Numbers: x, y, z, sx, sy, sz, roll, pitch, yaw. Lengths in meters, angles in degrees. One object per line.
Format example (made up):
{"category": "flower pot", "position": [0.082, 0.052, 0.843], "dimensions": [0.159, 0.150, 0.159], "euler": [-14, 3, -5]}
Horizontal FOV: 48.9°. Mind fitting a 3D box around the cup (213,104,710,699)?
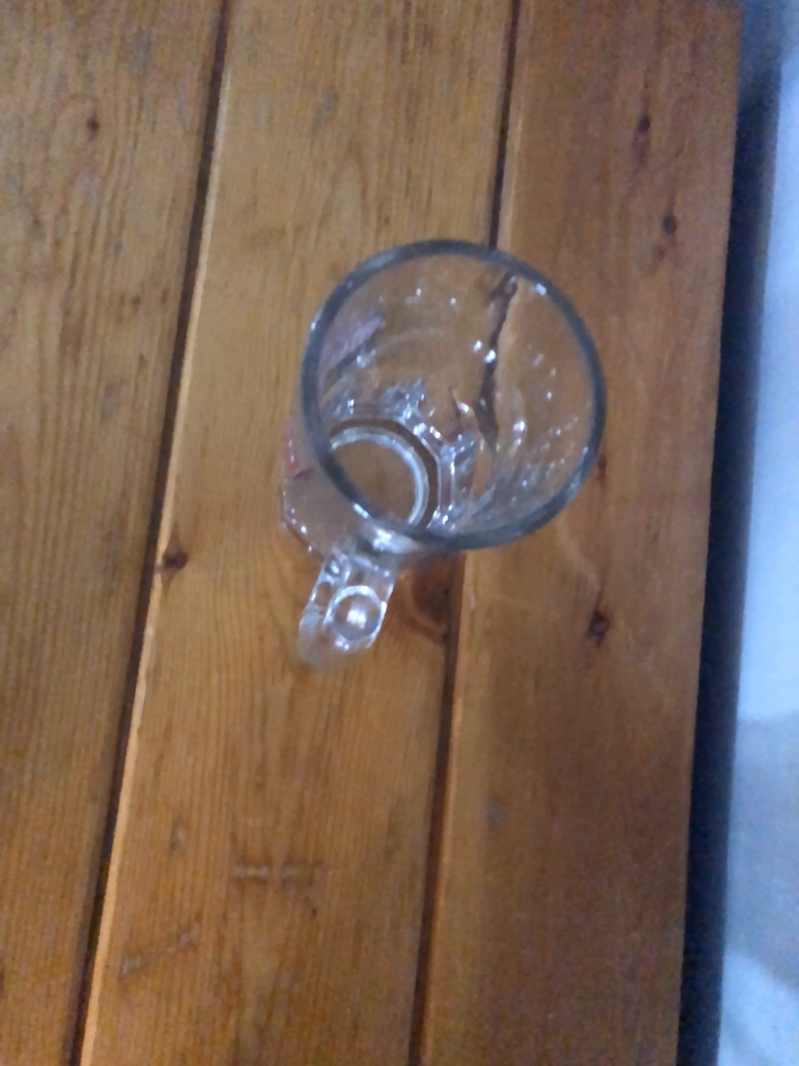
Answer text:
{"category": "cup", "position": [0.008, -0.032, 0.379], "dimensions": [0.110, 0.210, 0.160], "euler": [23, 80, -6]}
